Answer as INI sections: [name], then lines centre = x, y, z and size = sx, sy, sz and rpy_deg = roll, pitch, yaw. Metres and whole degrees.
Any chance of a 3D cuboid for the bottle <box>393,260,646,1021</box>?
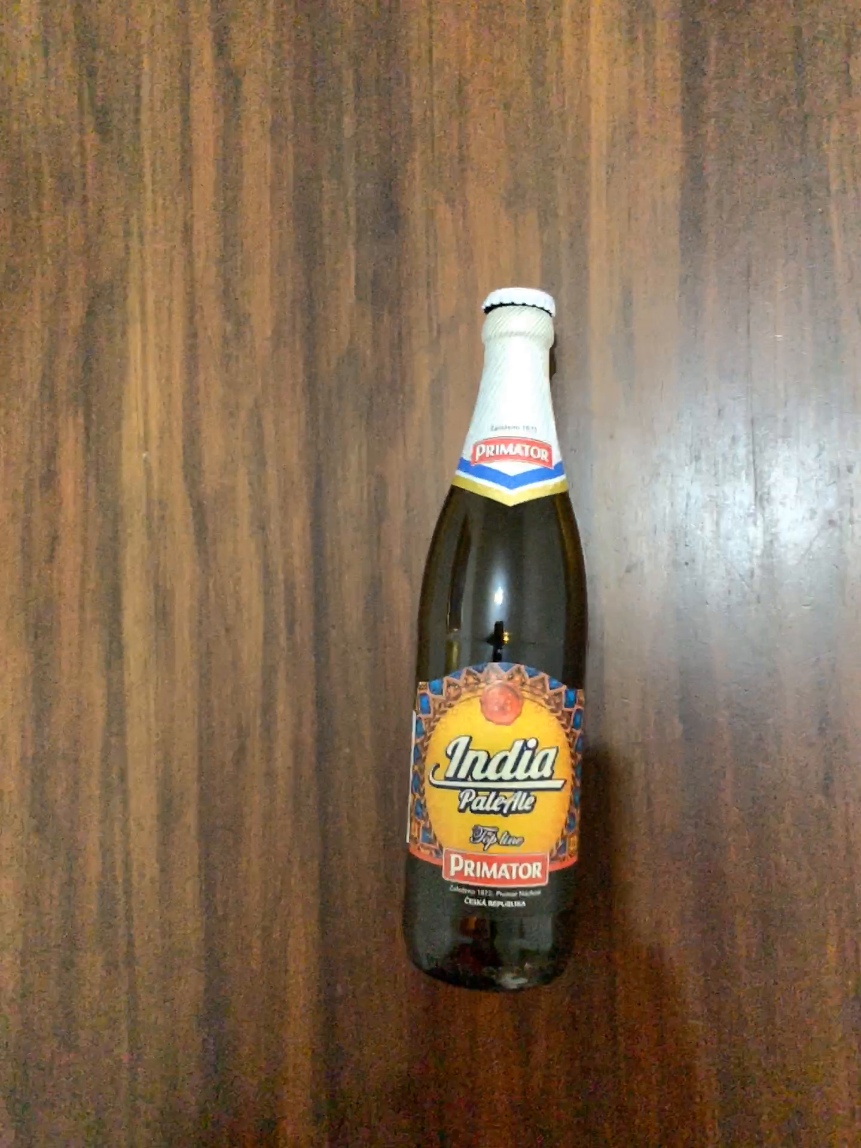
[bottle]
centre = 0.034, 0.021, 0.337
size = 0.080, 0.060, 0.260
rpy_deg = 2, 87, 6
